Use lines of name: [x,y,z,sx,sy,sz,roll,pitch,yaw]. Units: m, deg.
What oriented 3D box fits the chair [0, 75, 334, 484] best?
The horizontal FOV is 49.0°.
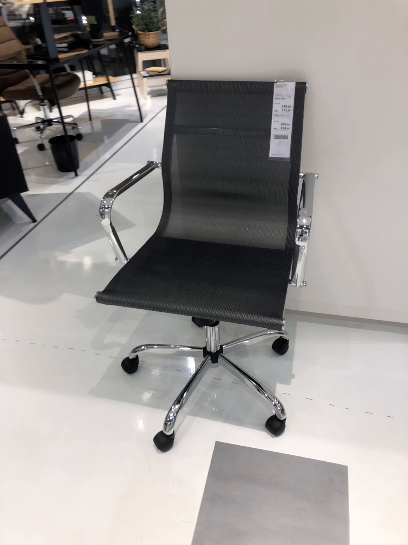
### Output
chair: [-0.007,-0.015,1.300,0.620,0.903,0.655,7,36,14]
